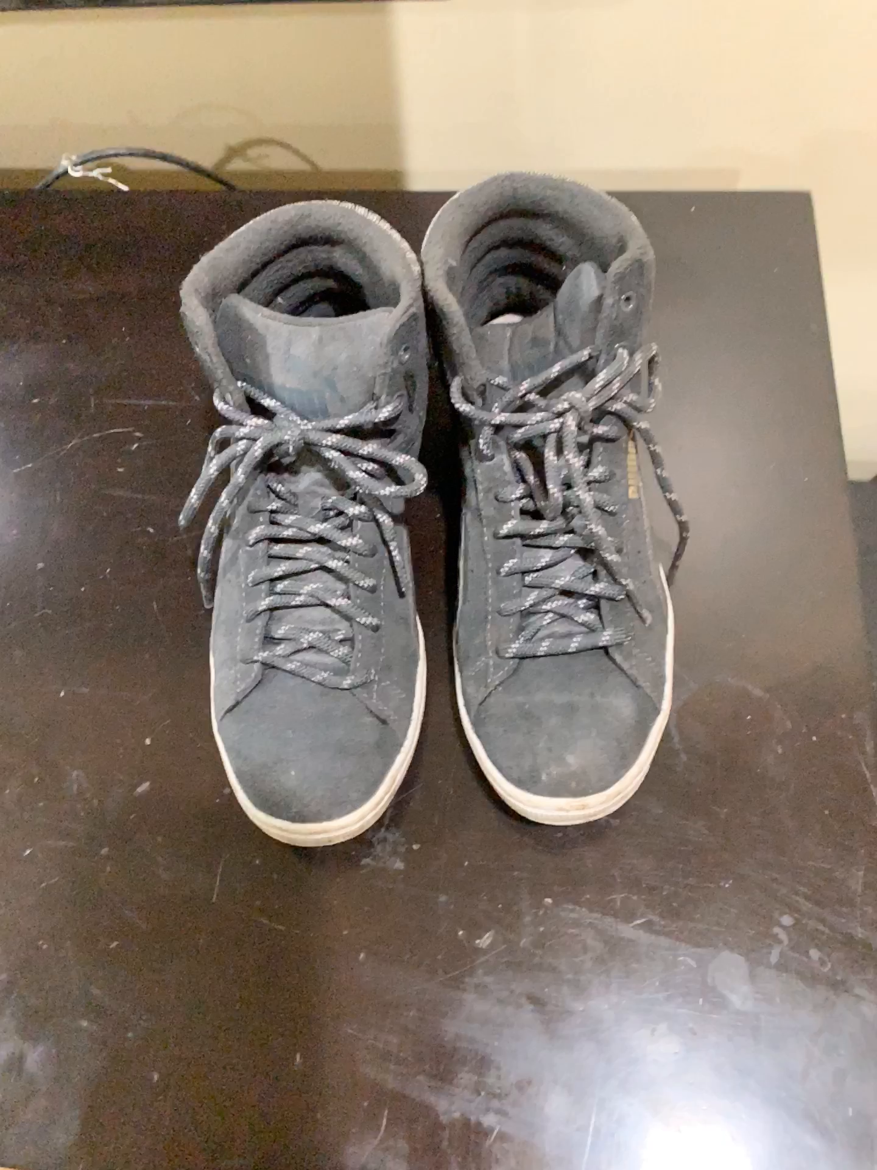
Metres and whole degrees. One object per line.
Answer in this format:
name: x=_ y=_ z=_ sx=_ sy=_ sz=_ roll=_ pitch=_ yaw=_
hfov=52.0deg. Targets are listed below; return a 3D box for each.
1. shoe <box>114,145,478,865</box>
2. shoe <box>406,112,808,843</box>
shoe: x=-0.047 y=-0.036 z=0.359 sx=0.100 sy=0.107 sz=0.262 roll=-5 pitch=63 yaw=2
shoe: x=0.047 y=-0.042 z=0.356 sx=0.097 sy=0.125 sz=0.253 roll=-5 pitch=63 yaw=2
